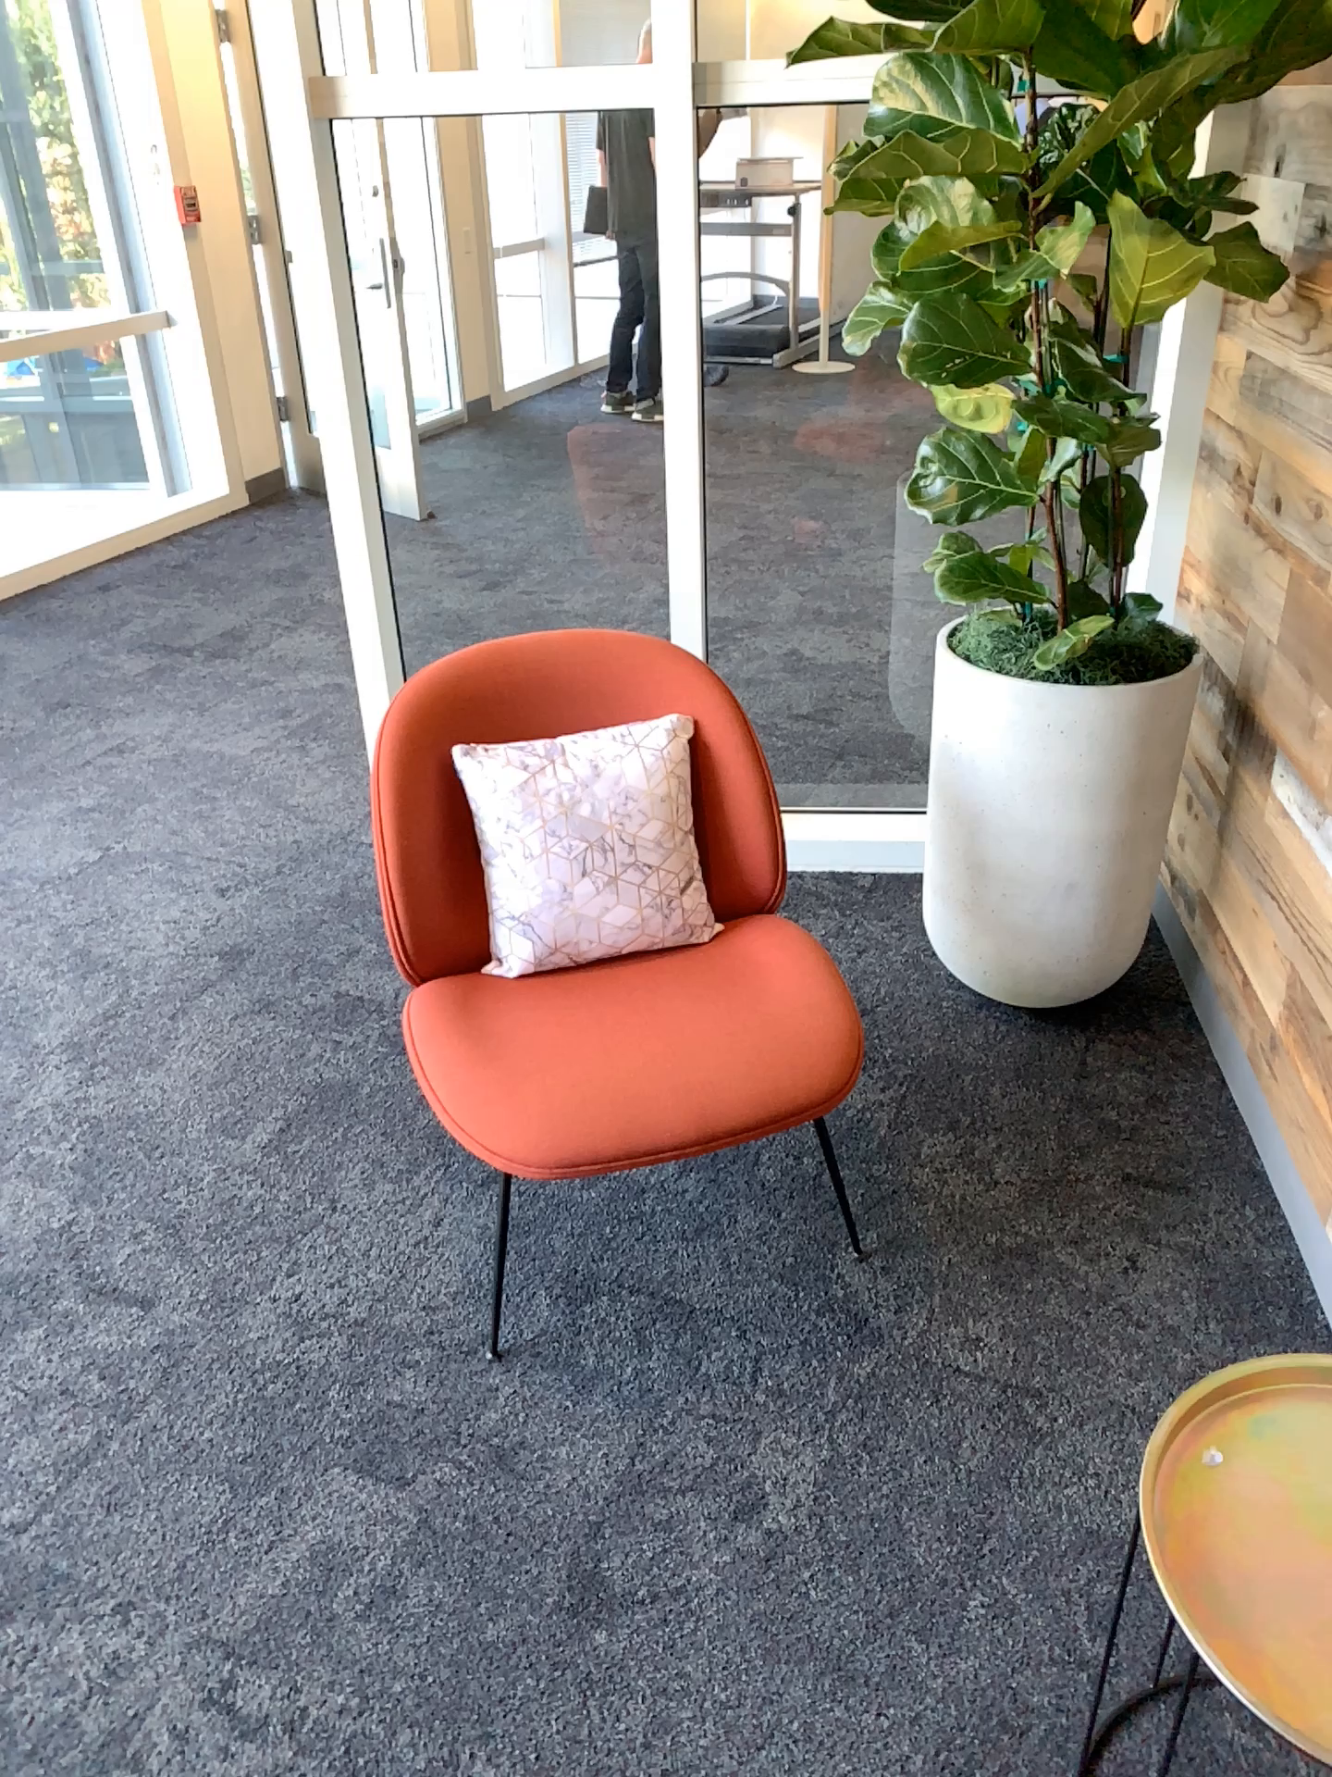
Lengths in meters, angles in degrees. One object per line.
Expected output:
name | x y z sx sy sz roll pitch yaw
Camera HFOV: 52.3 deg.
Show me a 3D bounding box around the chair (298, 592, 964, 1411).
chair | -0.084 0.108 1.940 0.700 0.795 0.704 -10 31 -13
